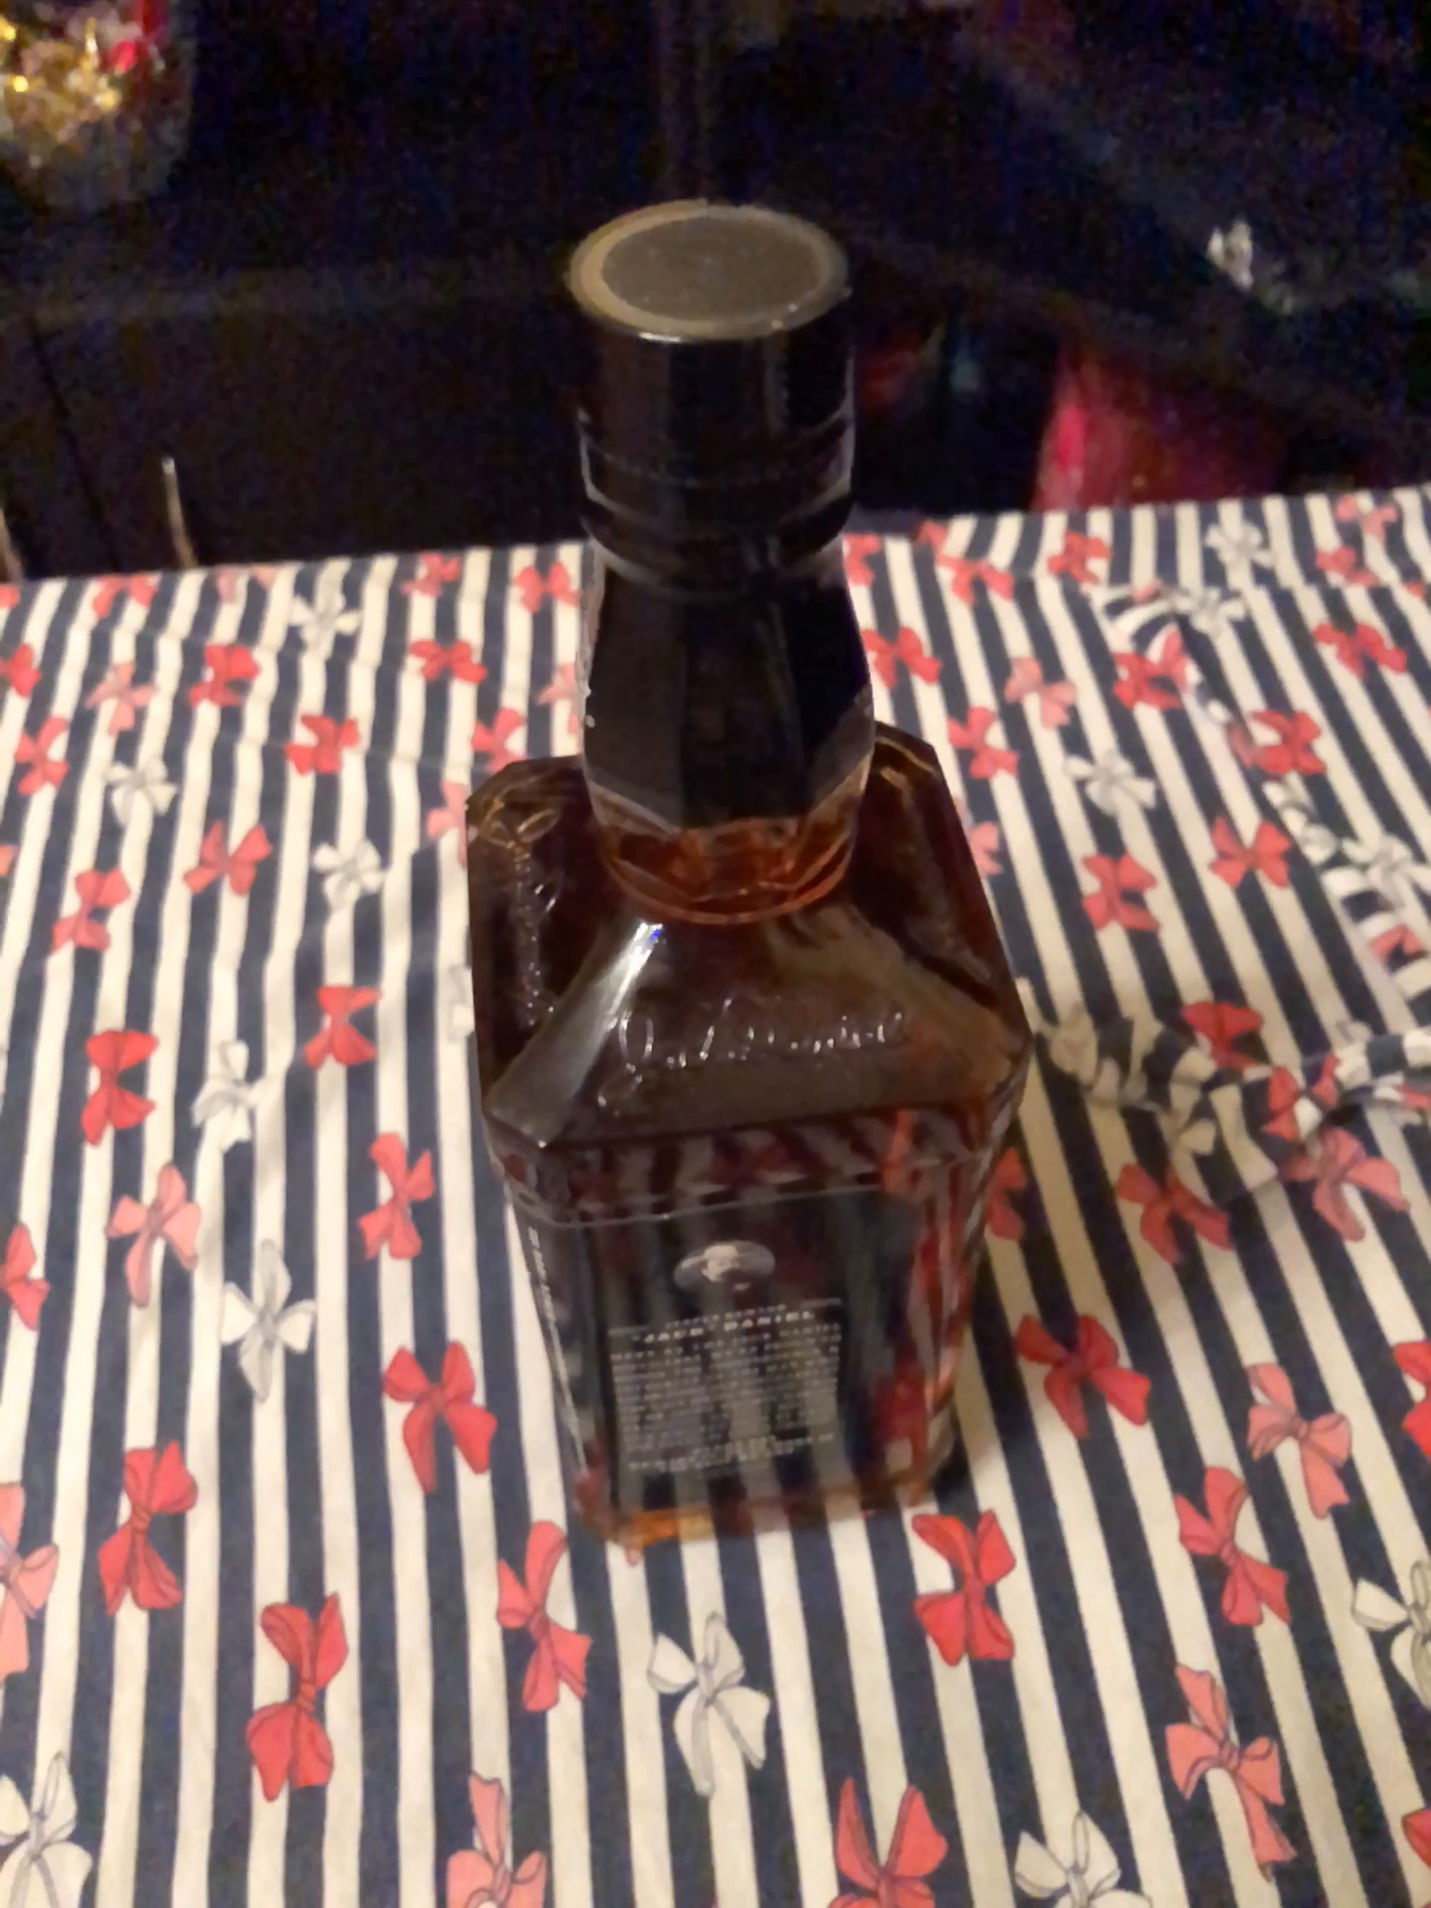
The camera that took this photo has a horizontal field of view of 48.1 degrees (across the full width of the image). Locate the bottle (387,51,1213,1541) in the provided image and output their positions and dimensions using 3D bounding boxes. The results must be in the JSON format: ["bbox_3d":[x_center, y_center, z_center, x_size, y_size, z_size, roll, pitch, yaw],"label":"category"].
[{"bbox_3d":[0.005,0.005,0.257,0.073,0.246,0.075,-1,49,1],"label":"bottle"}]
